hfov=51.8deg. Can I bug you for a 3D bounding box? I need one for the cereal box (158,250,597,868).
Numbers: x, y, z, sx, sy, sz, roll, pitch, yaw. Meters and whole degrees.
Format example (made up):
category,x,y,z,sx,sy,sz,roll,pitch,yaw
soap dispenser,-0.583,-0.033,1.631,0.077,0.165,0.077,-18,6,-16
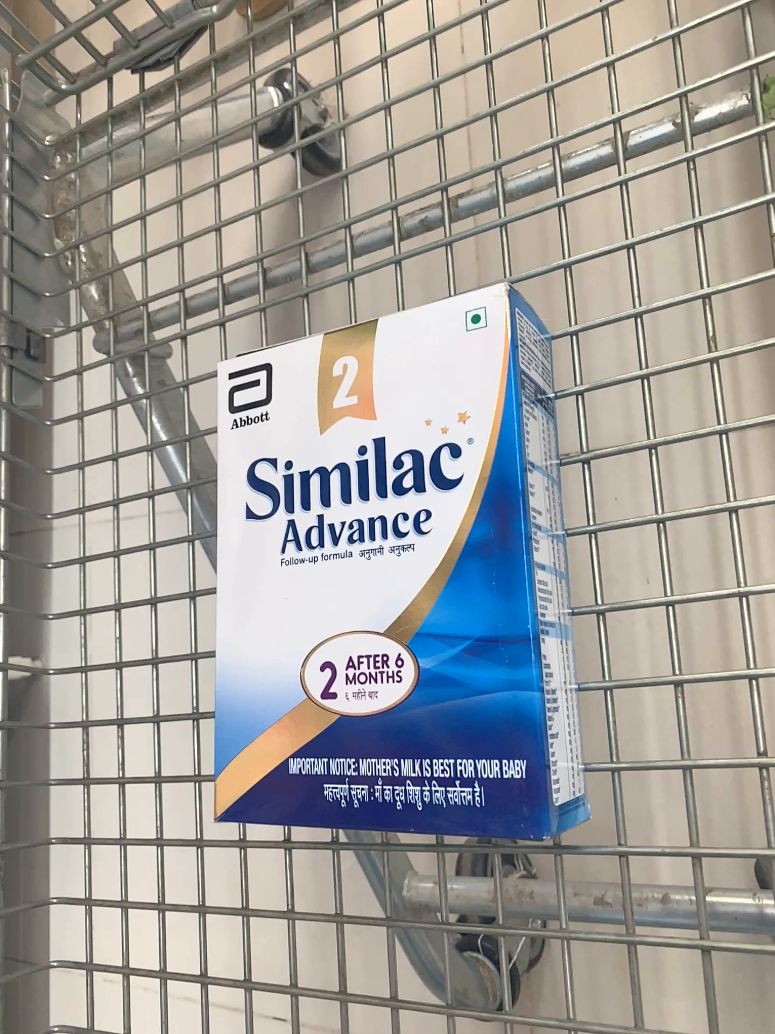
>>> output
category,x,y,z,sx,sy,sz,roll,pitch,yaw
cereal box,-0.009,0.020,0.315,0.151,0.060,0.200,-9,75,27
